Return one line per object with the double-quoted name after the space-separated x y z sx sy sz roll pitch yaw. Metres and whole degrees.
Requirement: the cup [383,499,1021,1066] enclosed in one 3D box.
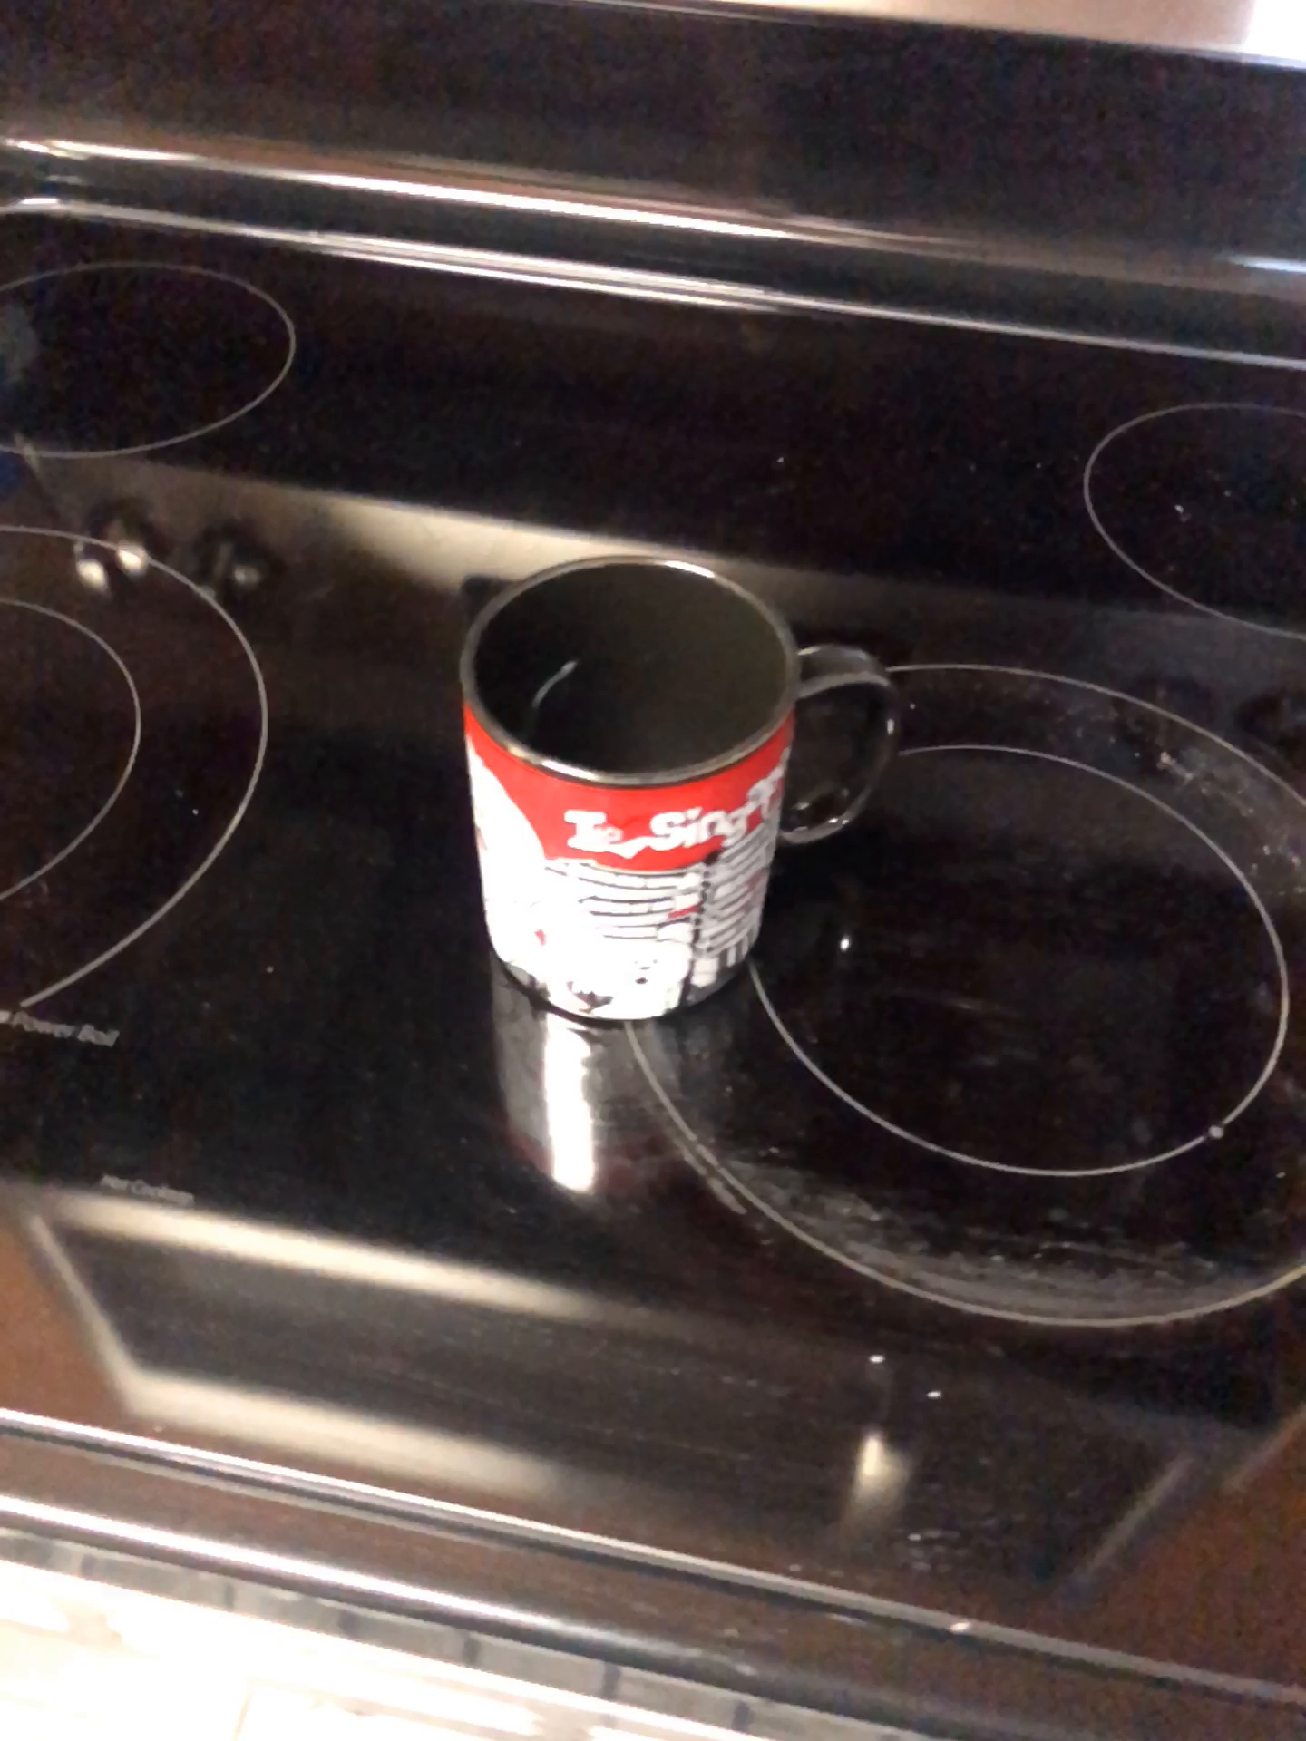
0.007 -0.024 0.374 0.130 0.090 0.090 -10 50 -12 "cup"
